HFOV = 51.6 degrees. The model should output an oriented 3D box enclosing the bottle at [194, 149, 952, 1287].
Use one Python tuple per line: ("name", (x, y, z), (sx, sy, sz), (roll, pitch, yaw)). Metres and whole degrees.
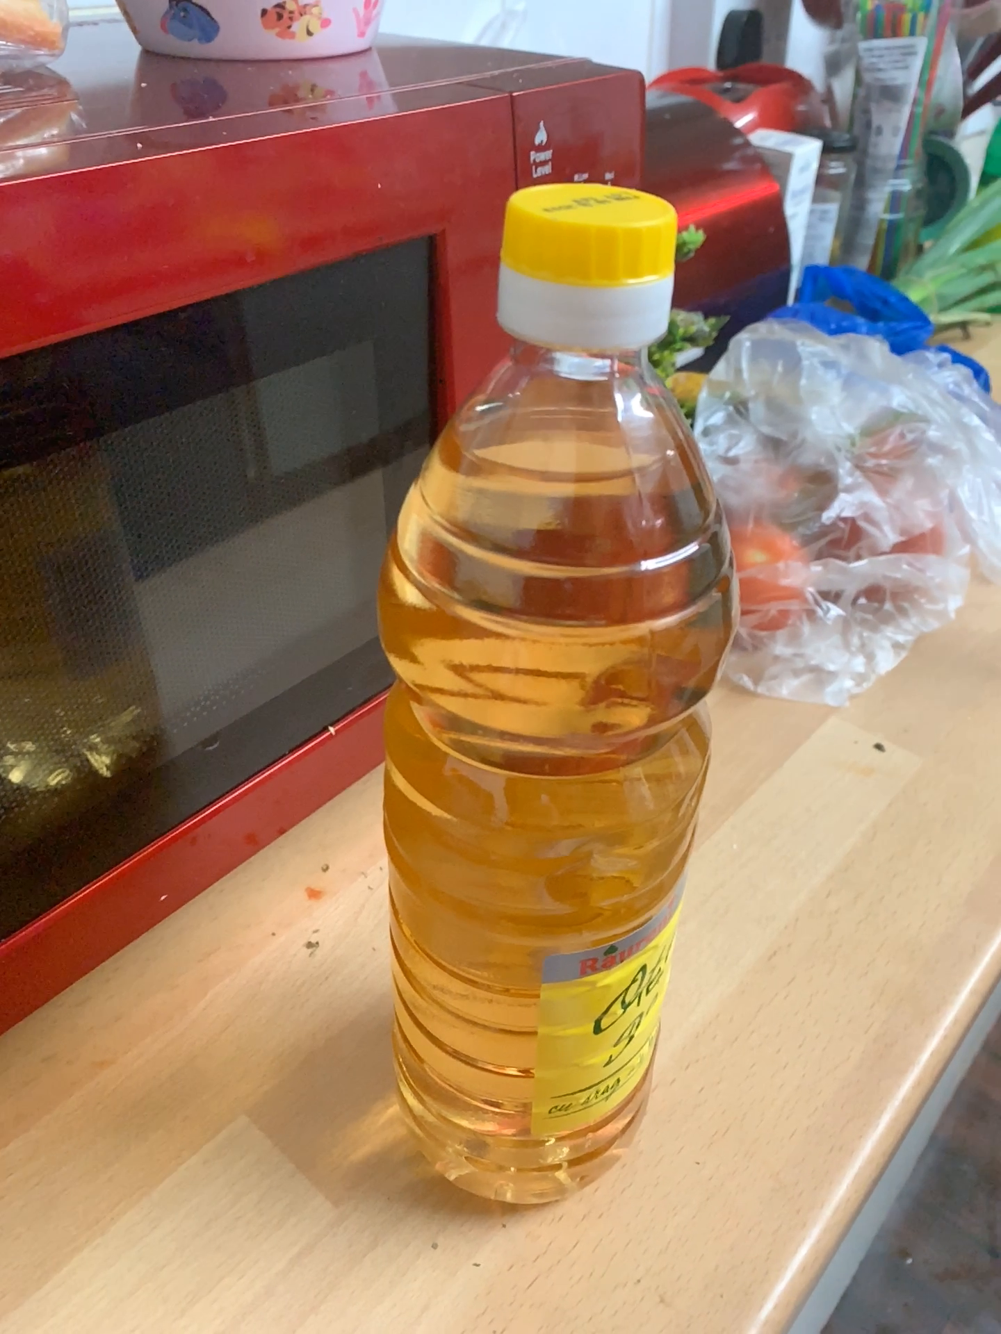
("bottle", (0.011, 0.021, 0.231), (0.090, 0.228, 0.080), (-29, 46, -34))
